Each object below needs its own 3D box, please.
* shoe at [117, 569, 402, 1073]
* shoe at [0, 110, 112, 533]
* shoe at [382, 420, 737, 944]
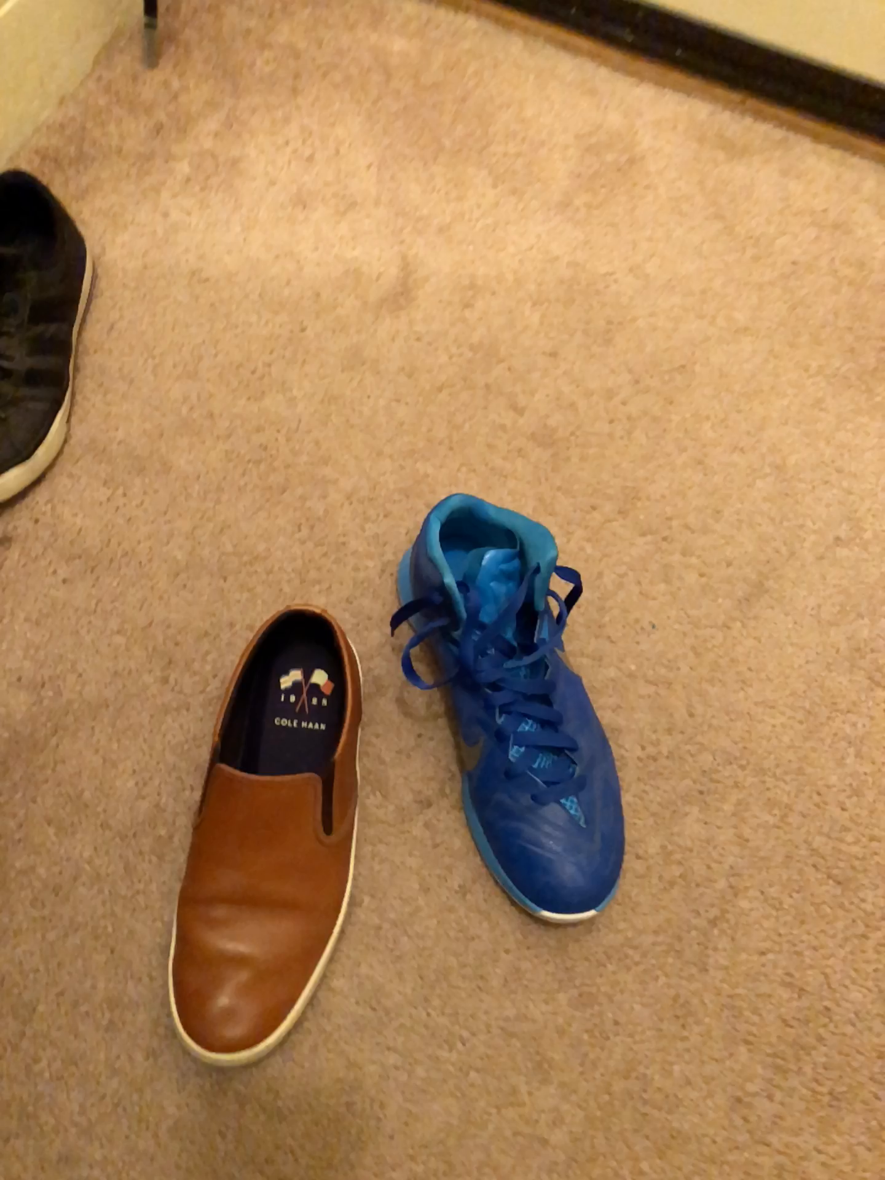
[{"bbox_3d":[-0.104,0.139,0.616,0.105,0.083,0.283,10,65,-1],"label":"shoe"},{"bbox_3d":[-0.339,-0.201,0.725,0.115,0.113,0.293,2,66,-4],"label":"shoe"},{"bbox_3d":[0.057,0.060,0.637,0.115,0.143,0.292,-14,68,-11],"label":"shoe"}]
